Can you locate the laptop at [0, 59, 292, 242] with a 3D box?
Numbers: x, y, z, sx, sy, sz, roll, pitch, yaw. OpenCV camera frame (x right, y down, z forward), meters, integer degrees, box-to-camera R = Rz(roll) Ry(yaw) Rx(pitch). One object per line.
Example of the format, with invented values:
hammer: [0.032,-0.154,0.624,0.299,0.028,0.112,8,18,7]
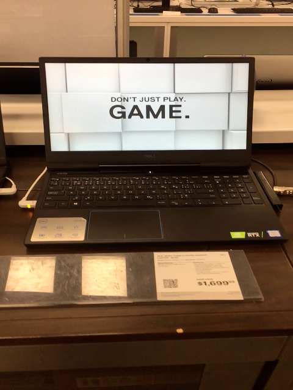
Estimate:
laptop: [0.009,-0.083,0.600,0.364,0.174,0.297,-1,37,2]
